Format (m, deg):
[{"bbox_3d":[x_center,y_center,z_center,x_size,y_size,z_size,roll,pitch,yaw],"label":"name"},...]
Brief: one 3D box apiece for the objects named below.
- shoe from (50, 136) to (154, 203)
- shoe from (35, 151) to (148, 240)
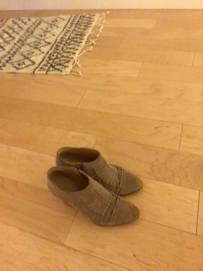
[{"bbox_3d":[0.007,0.095,0.647,0.270,0.119,0.101,8,51,17],"label":"shoe"},{"bbox_3d":[-0.021,0.158,0.606,0.270,0.129,0.111,14,53,21],"label":"shoe"}]
